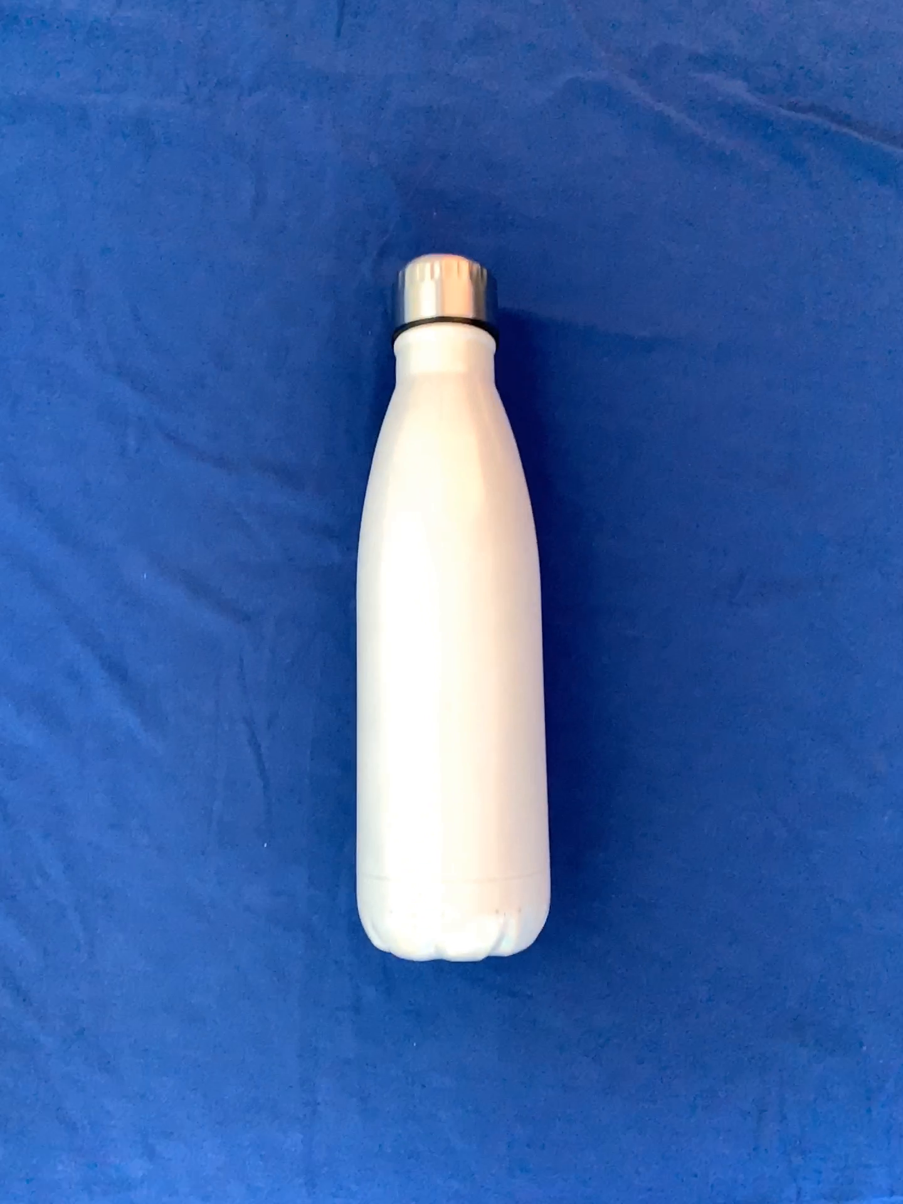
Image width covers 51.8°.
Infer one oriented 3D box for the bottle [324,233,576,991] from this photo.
[{"bbox_3d":[-0.003,0.000,0.343,0.080,0.050,0.260,-1,83,-1],"label":"bottle"}]
